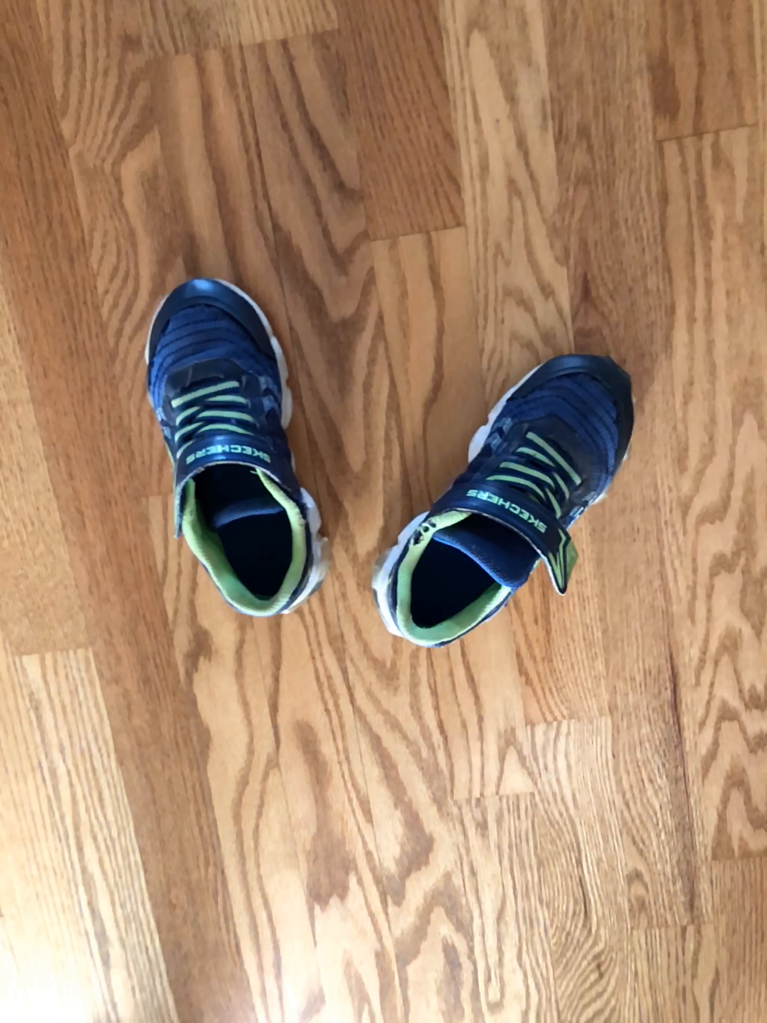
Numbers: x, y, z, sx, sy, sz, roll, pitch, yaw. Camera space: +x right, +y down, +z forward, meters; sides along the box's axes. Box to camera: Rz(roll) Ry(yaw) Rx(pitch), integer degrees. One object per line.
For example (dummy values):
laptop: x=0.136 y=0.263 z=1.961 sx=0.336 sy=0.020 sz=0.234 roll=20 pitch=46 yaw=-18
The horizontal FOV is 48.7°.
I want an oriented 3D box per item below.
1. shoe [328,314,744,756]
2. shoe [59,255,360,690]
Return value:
shoe: x=0.073 y=0.009 z=0.462 sx=0.093 sy=0.087 sz=0.212 roll=36 pitch=102 yaw=-6
shoe: x=-0.084 y=-0.023 z=0.465 sx=0.093 sy=0.095 sz=0.203 roll=-12 pitch=102 yaw=5
